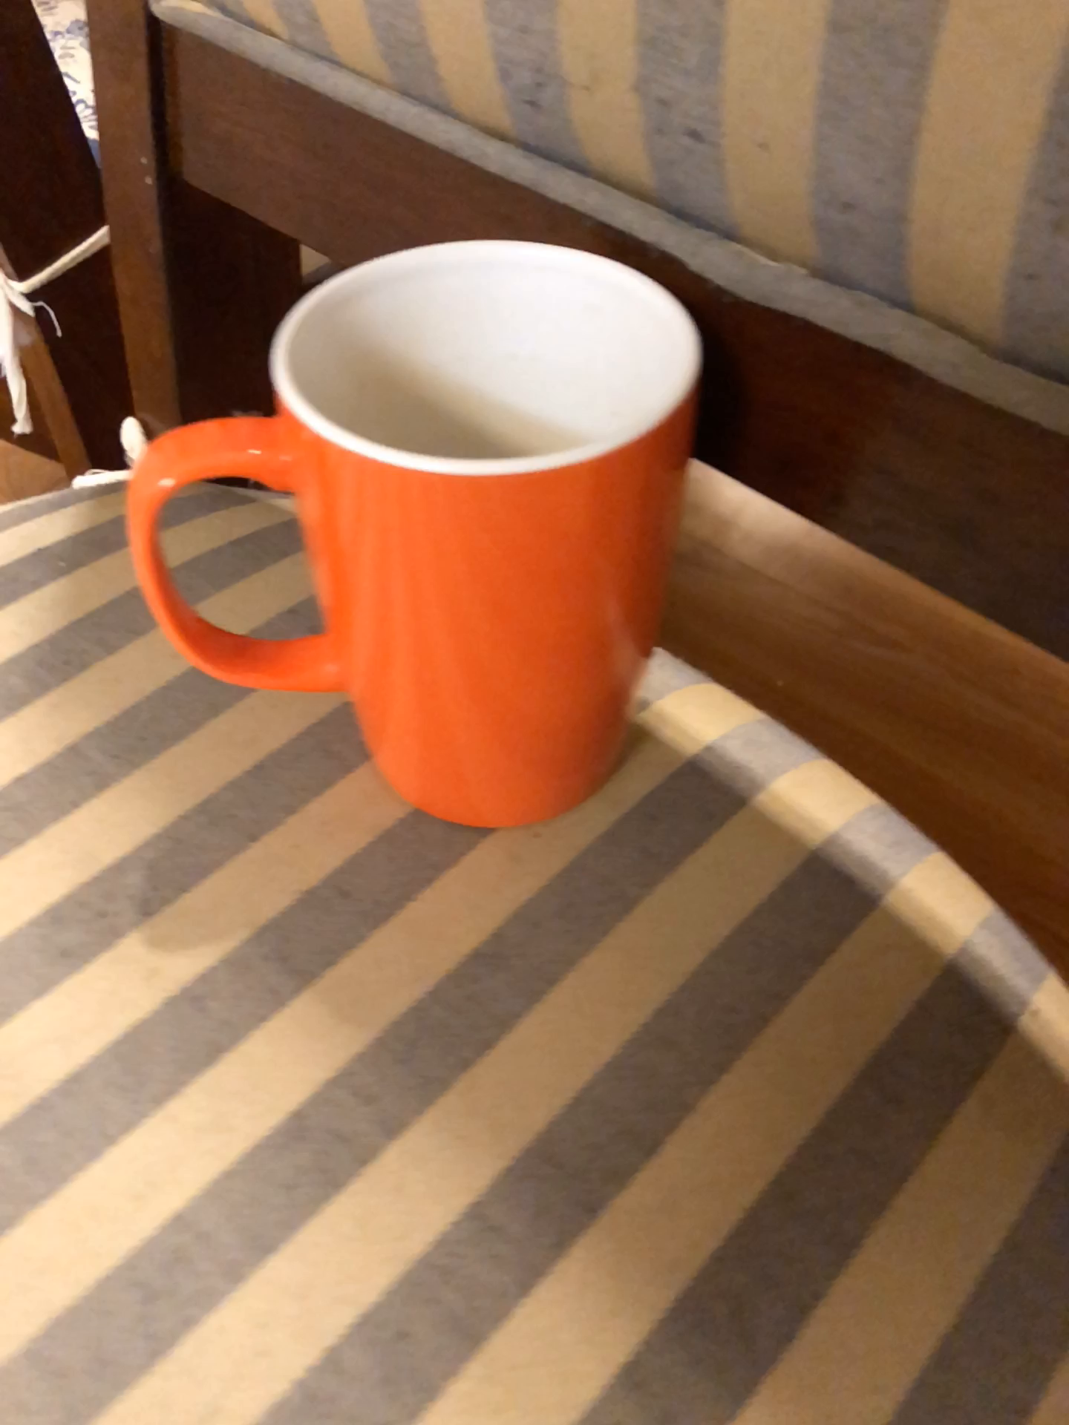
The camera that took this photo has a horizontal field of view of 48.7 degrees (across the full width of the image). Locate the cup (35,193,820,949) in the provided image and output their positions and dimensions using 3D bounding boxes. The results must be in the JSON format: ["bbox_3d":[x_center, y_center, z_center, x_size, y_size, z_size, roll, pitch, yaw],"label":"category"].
[{"bbox_3d":[-0.024,-0.032,0.252,0.120,0.099,0.091,-17,51,-14],"label":"cup"}]
